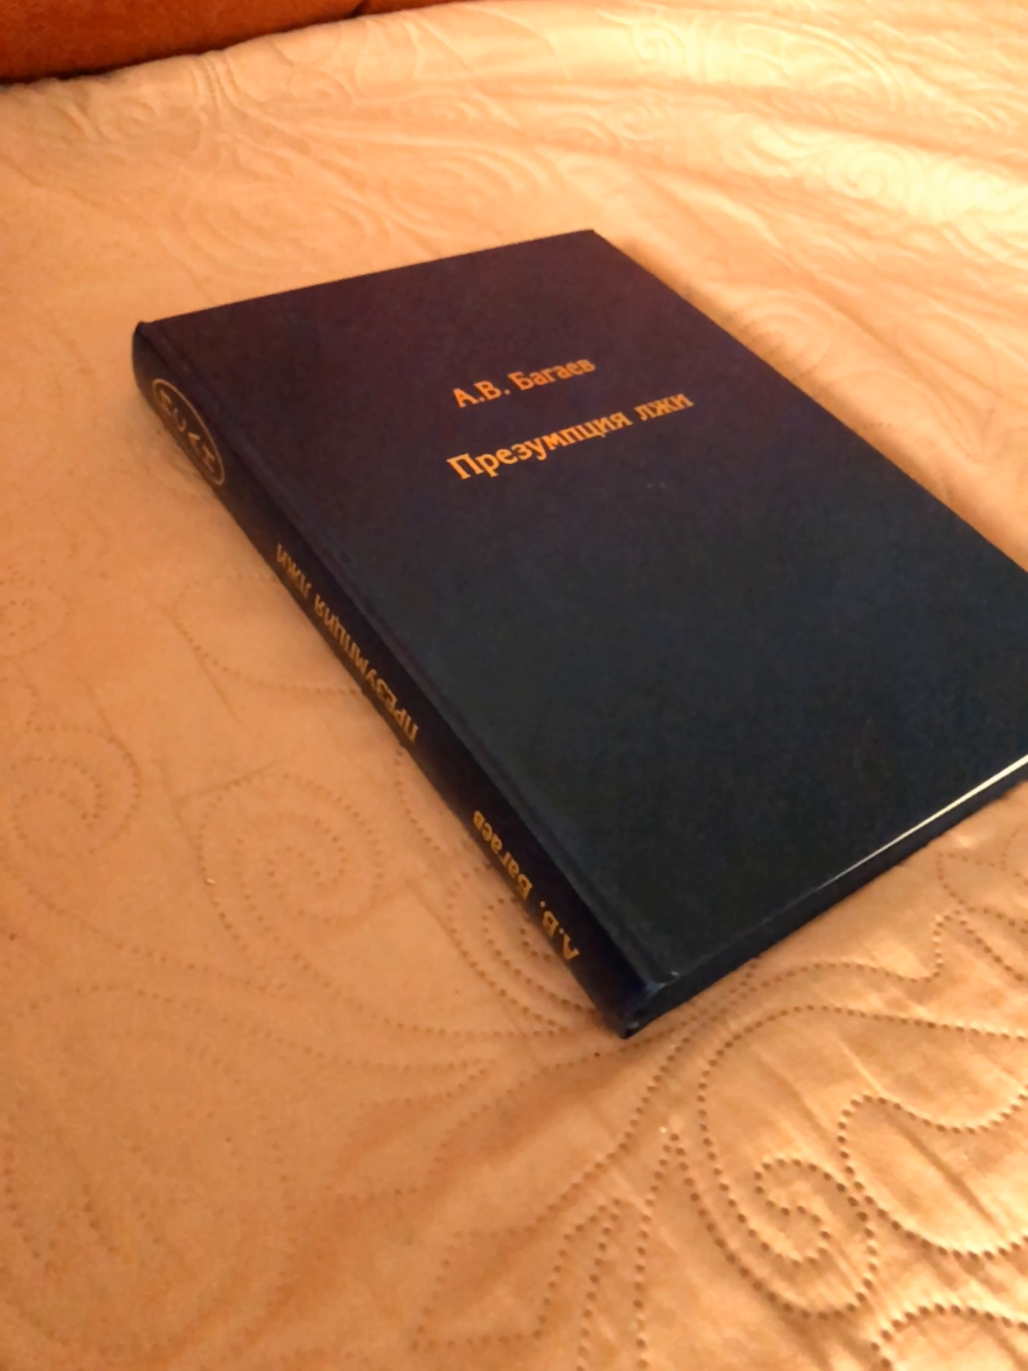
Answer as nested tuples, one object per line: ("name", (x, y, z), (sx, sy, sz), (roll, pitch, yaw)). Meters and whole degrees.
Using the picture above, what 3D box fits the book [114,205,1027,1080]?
("book", (0.025, -0.048, 0.330), (0.181, 0.030, 0.261), (-24, 58, -27))
